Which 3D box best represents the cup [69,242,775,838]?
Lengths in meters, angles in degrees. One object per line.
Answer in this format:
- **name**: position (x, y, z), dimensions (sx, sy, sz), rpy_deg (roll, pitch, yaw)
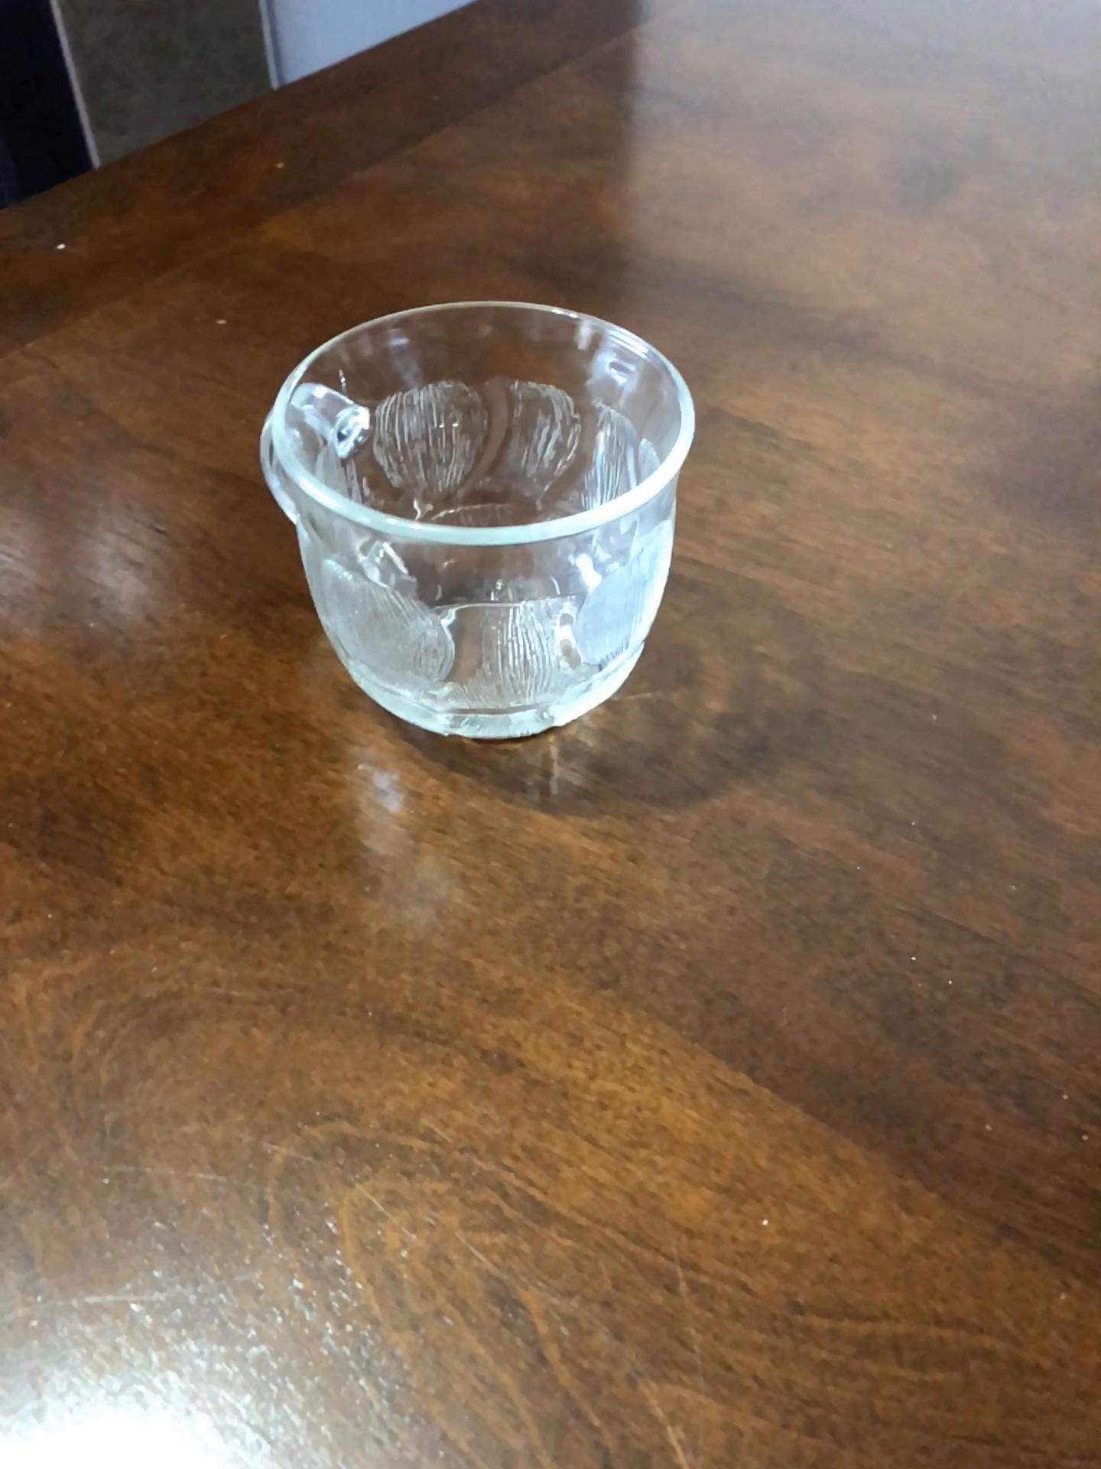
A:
- **cup**: position (-0.023, -0.044, 0.242), dimensions (0.100, 0.050, 0.080), rpy_deg (28, 53, 24)
